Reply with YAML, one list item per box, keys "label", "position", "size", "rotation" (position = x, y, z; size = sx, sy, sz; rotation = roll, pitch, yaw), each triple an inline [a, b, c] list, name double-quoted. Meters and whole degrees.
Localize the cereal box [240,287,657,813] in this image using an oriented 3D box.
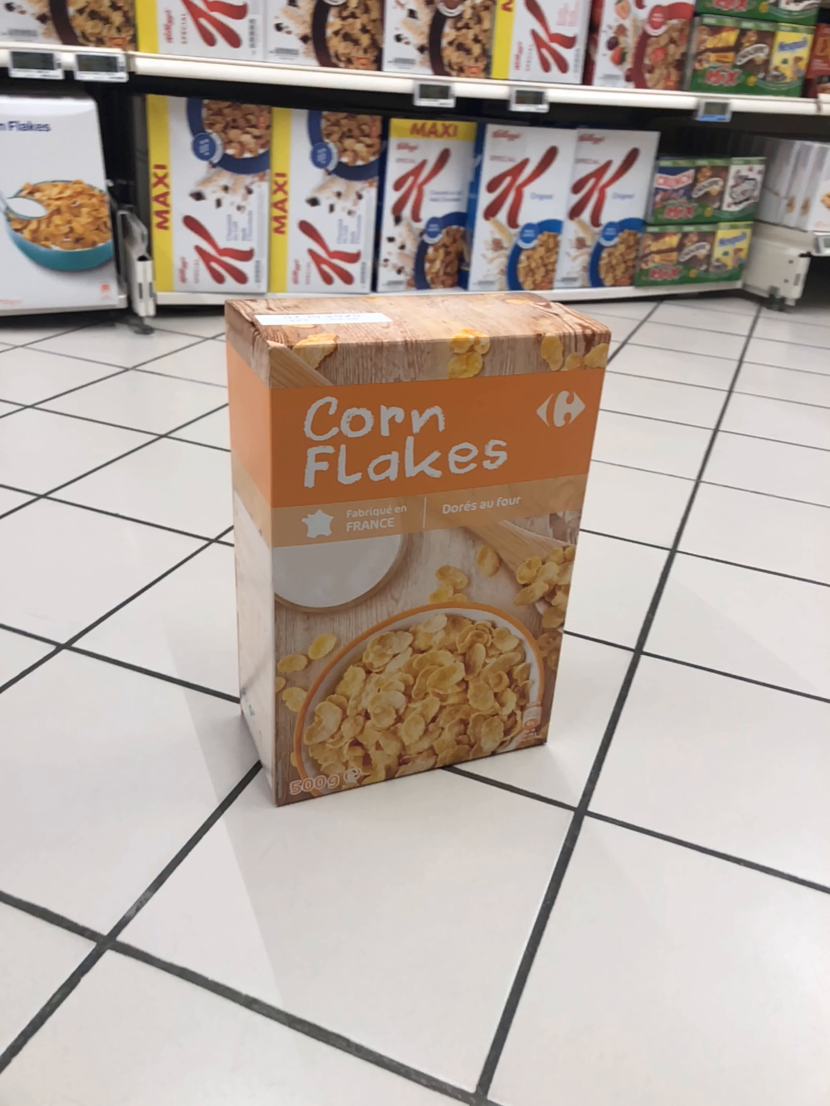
- label: "cereal box"
  position: [0.008, -0.008, 0.557]
  size: [0.201, 0.278, 0.110]
  rotation: [-8, 29, -22]
